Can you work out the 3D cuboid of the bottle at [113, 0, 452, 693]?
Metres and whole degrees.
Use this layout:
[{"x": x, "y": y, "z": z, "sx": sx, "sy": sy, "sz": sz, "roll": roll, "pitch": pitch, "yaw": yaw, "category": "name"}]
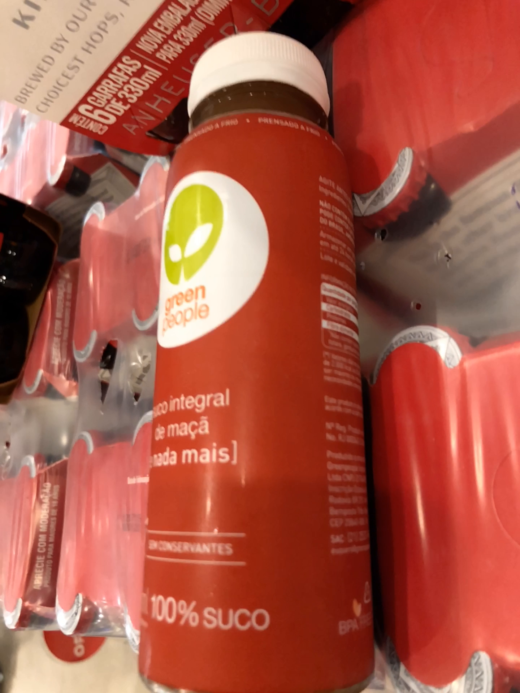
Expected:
[{"x": 0.002, "y": -0.012, "z": 0.144, "sx": 0.060, "sy": 0.040, "sz": 0.180, "roll": -16, "pitch": 68, "yaw": 48, "category": "bottle"}]
